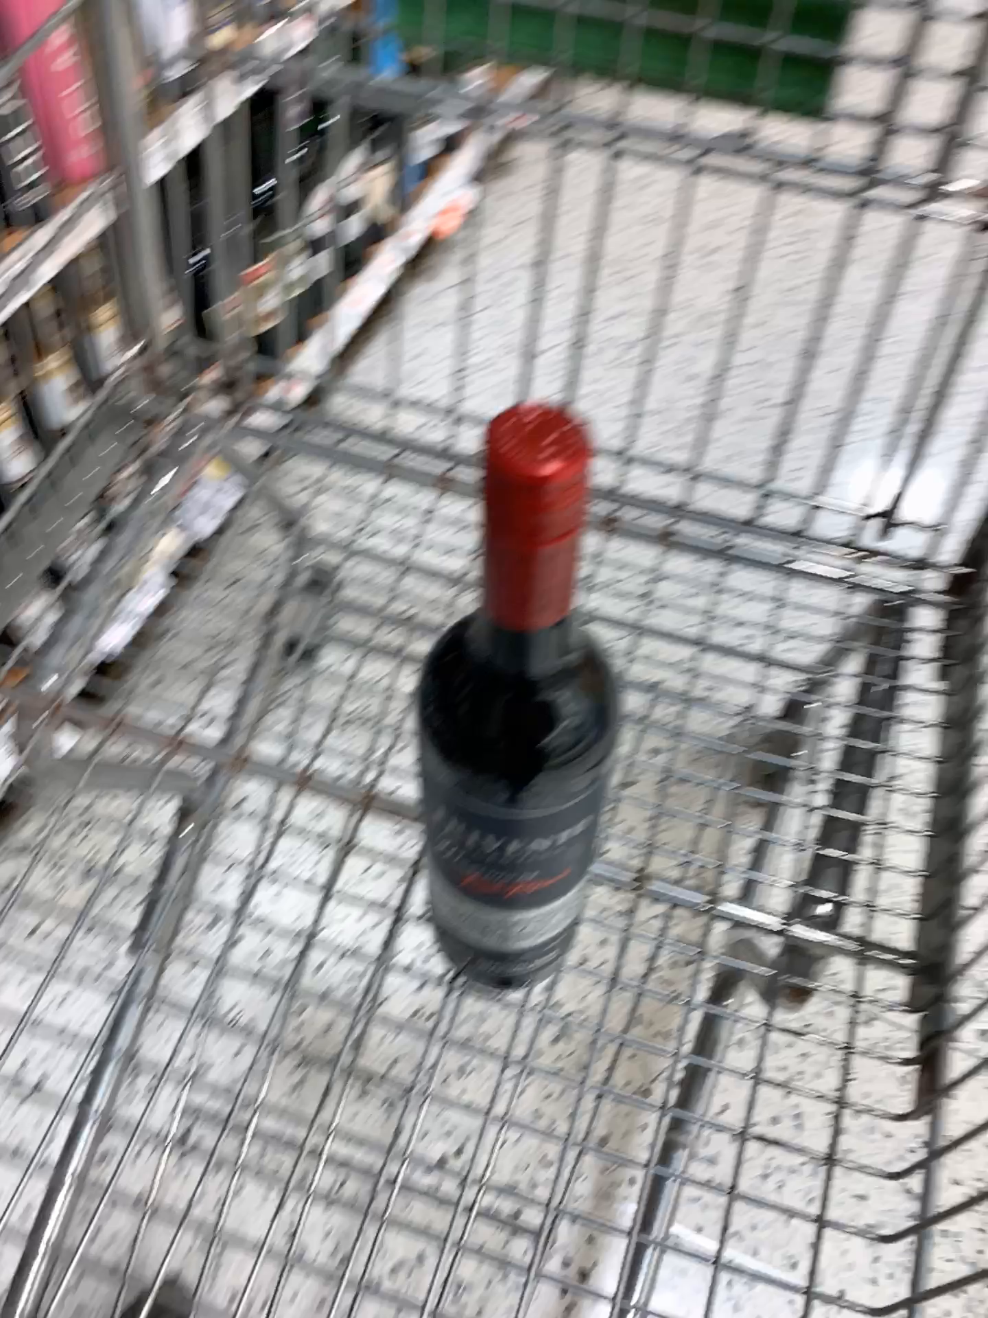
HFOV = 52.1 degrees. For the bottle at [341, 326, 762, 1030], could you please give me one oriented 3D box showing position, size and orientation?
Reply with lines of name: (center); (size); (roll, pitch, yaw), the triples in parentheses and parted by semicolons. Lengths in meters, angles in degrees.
bottle: (0.015, 0.045, 0.406); (0.100, 0.337, 0.101); (1, 56, -2)
